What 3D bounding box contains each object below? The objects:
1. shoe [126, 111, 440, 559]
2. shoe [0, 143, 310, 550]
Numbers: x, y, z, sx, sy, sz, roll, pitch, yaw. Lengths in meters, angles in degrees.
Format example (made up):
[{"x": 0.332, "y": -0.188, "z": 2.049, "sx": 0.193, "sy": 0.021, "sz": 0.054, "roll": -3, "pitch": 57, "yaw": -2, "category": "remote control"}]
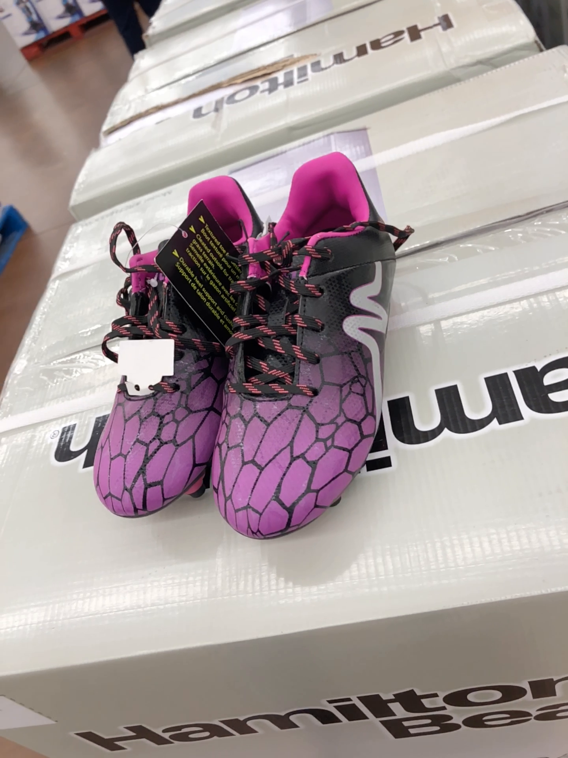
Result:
[{"x": 0.017, "y": -0.031, "z": 0.311, "sx": 0.080, "sy": 0.080, "sz": 0.210, "roll": -3, "pitch": 49, "yaw": 26, "category": "shoe"}, {"x": -0.062, "y": -0.027, "z": 0.344, "sx": 0.080, "sy": 0.080, "sz": 0.210, "roll": -2, "pitch": 49, "yaw": 27, "category": "shoe"}]
